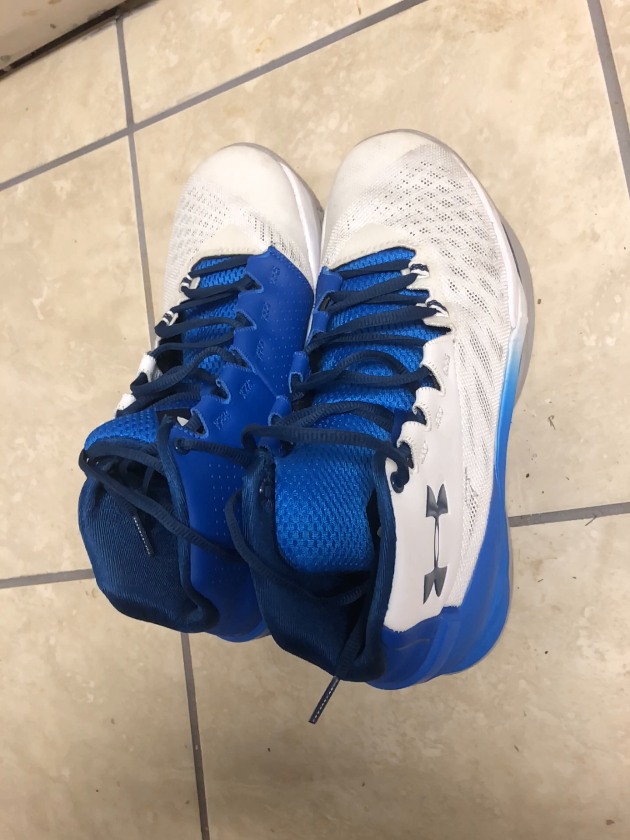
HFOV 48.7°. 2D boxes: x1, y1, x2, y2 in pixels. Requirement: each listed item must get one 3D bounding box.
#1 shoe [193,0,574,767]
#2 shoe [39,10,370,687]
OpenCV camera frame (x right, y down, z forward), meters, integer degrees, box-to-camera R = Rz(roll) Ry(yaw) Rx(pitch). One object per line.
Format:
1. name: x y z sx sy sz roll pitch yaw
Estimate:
1. shoe: 0.034 -0.033 0.332 0.120 0.130 0.322 -8 80 25
2. shoe: -0.060 -0.030 0.382 0.120 0.100 0.310 -9 83 25
